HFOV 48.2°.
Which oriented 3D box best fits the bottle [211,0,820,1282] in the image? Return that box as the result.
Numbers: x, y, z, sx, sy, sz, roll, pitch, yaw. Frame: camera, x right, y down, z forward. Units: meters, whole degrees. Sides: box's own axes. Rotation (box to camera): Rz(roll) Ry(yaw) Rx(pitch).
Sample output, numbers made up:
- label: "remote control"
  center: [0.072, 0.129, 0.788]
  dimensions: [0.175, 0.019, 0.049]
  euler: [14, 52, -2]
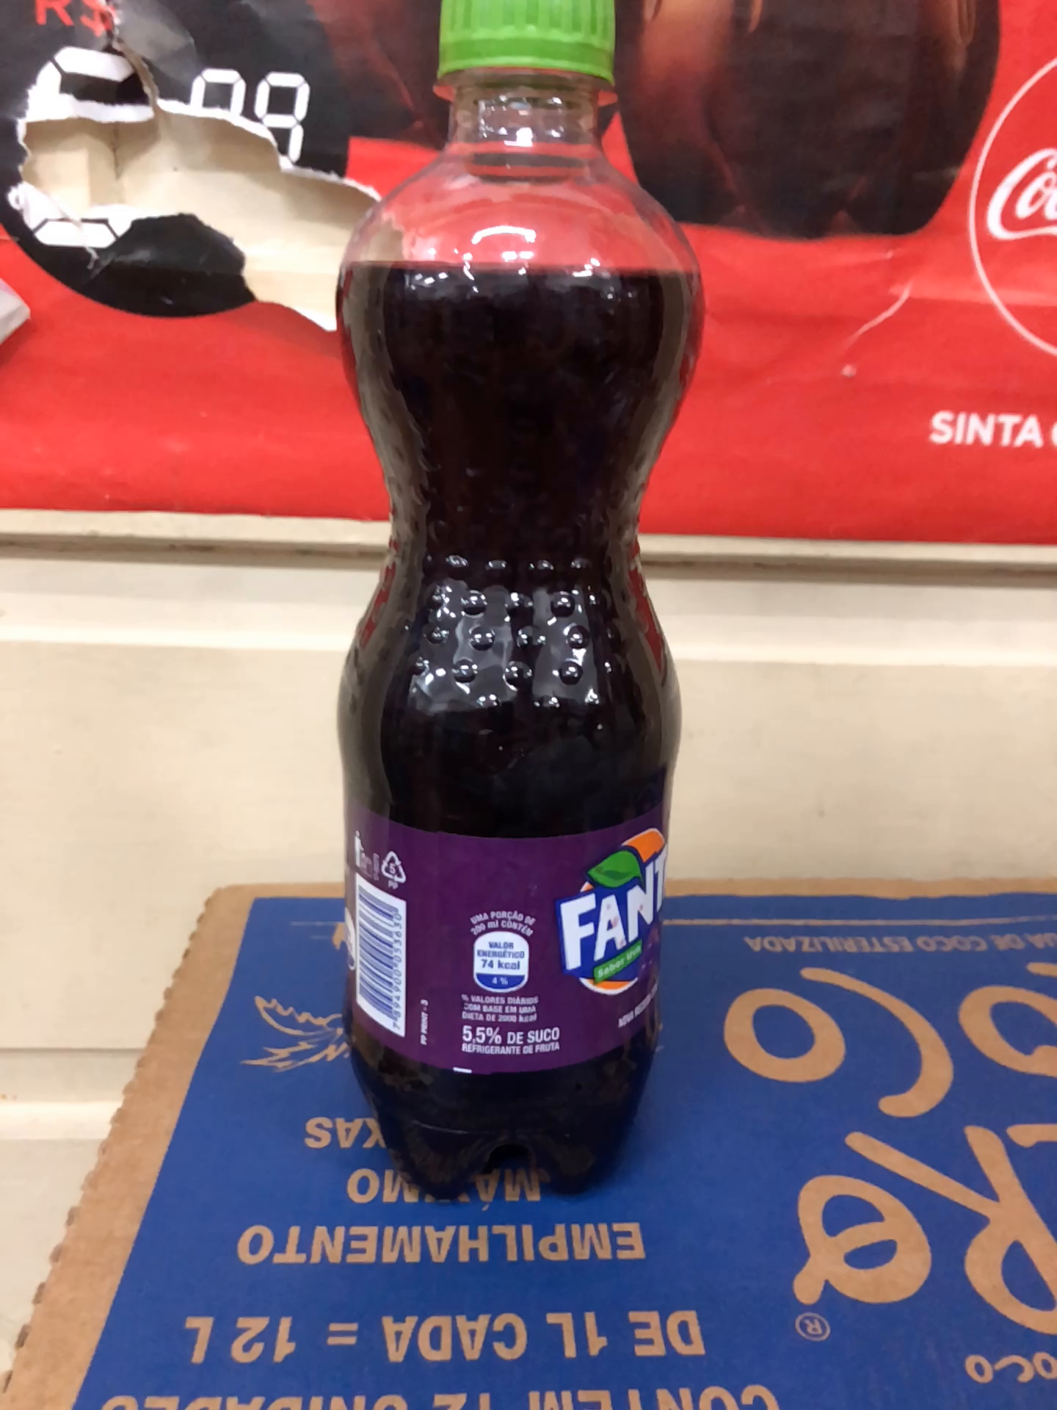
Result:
- label: "bottle"
  center: [-0.004, -0.020, 0.235]
  dimensions: [0.070, 0.229, 0.080]
  euler: [14, 21, 35]
